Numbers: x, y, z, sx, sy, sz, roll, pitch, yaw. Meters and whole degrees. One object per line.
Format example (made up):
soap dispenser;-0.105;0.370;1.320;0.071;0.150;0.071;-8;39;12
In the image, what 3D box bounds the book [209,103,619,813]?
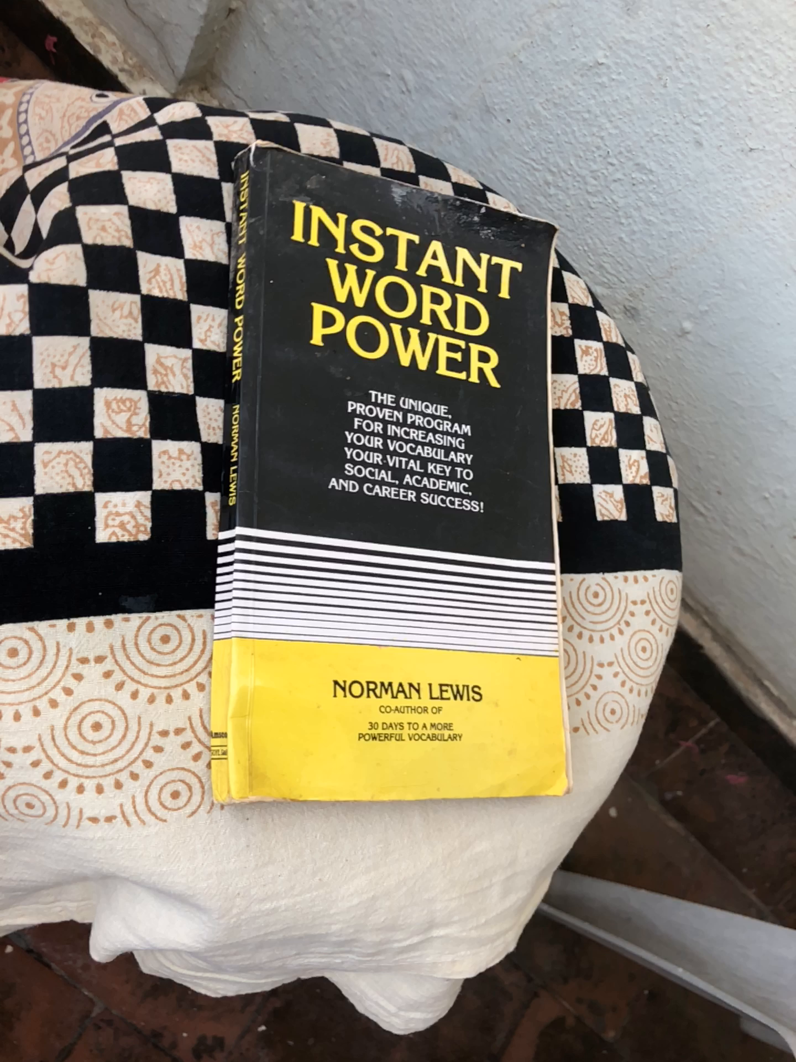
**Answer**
book;0.008;-0.032;0.396;0.161;0.040;0.300;9;68;-26
